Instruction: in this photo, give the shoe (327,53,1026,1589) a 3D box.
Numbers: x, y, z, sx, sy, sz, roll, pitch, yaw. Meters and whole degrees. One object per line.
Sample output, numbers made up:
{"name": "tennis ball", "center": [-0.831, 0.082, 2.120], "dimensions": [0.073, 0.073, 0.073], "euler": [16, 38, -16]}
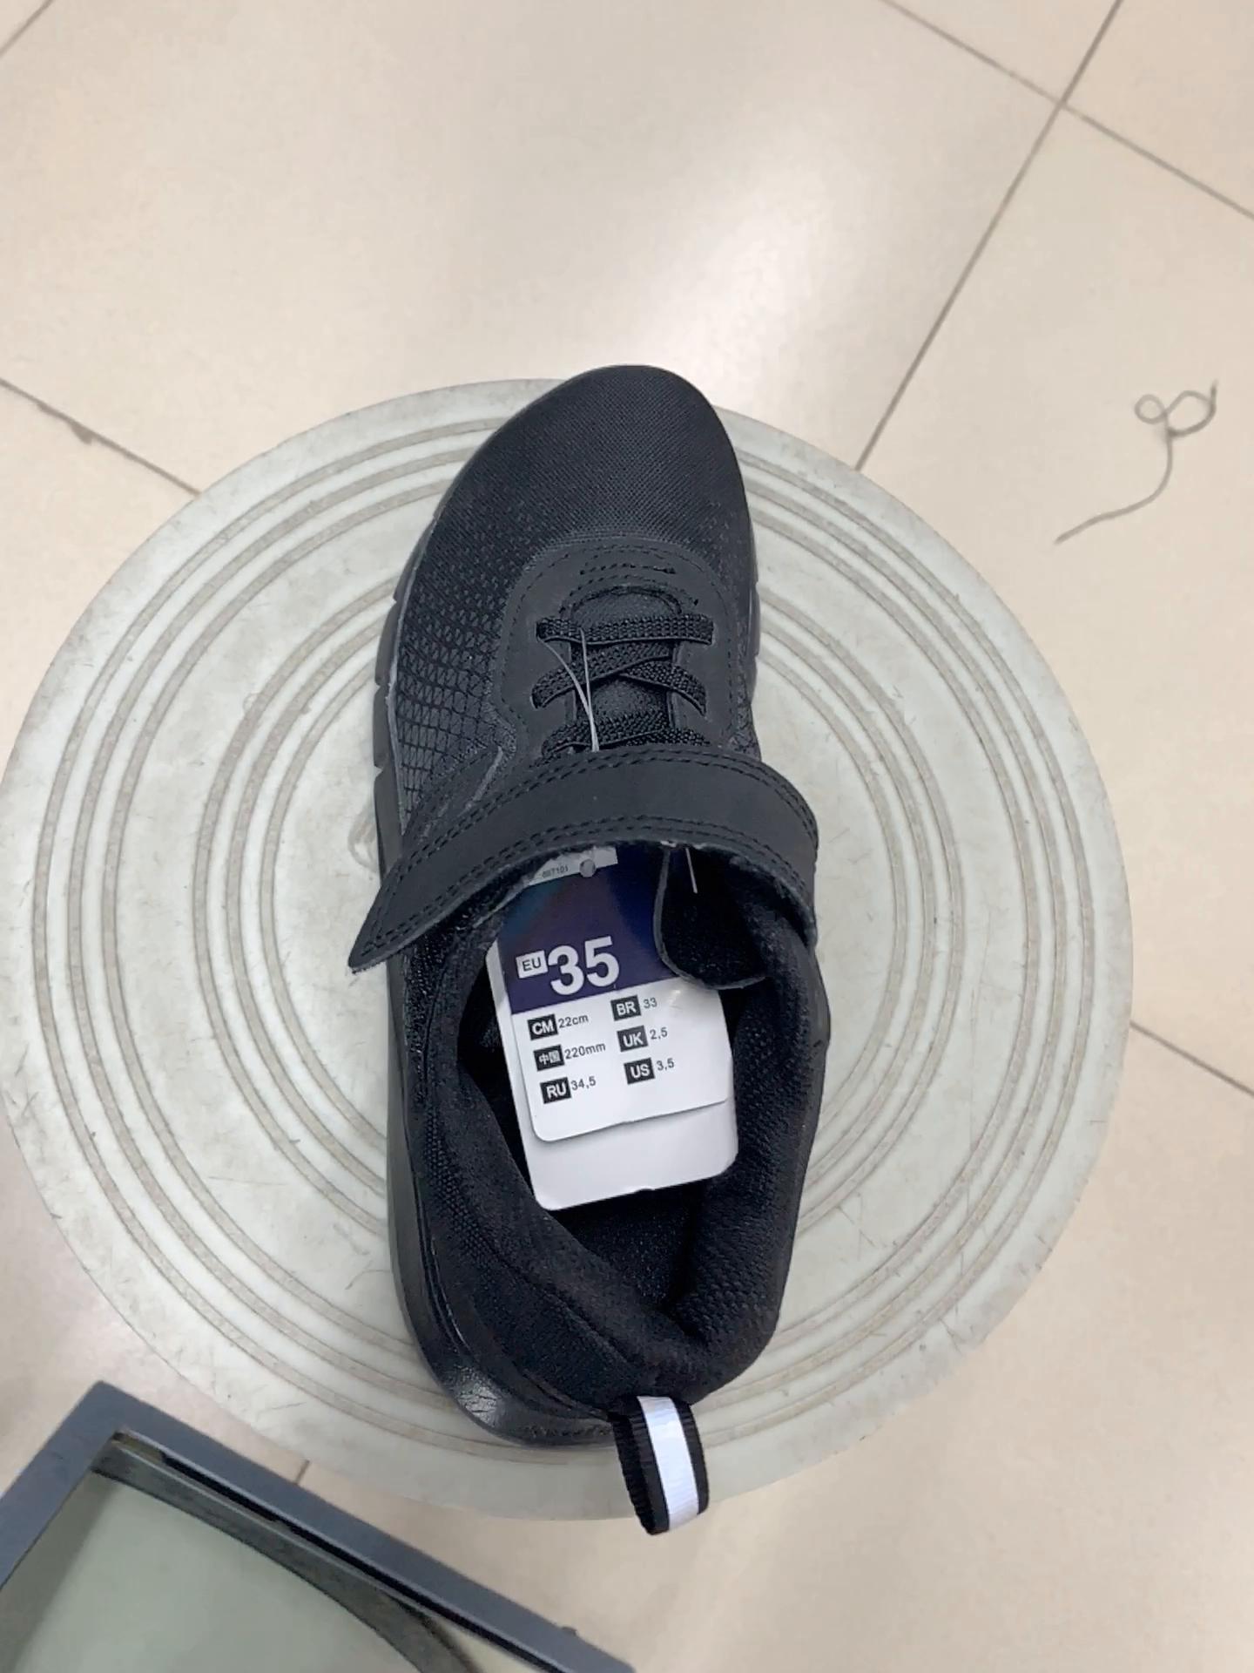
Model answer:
{"name": "shoe", "center": [-0.004, -0.011, 0.252], "dimensions": [0.100, 0.080, 0.250], "euler": [-1, 76, -11]}
